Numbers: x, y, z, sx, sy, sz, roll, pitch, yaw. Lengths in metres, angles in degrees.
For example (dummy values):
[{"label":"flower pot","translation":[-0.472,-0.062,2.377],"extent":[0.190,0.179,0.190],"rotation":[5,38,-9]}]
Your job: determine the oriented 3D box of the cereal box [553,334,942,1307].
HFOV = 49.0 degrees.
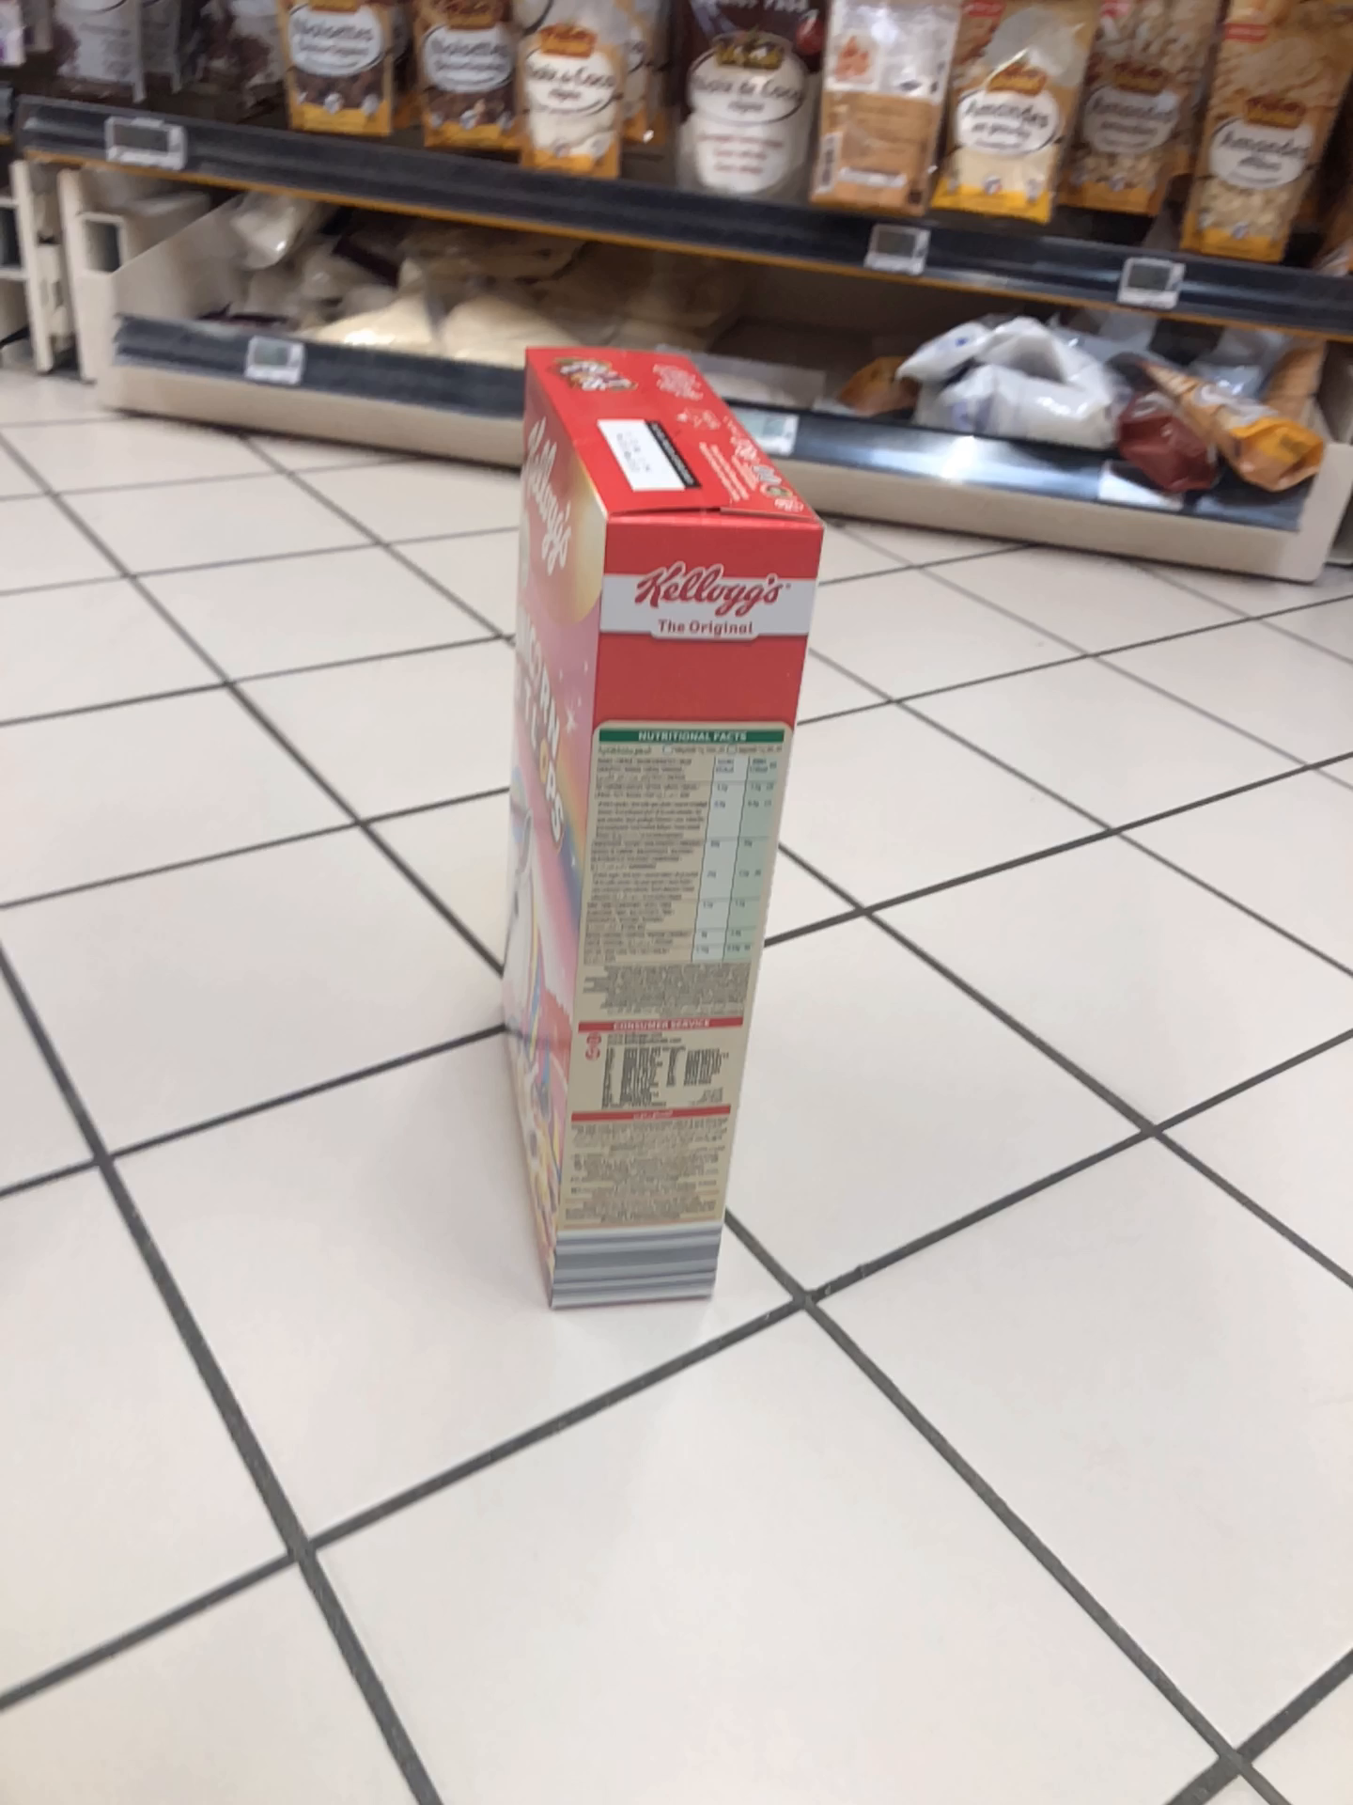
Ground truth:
[{"label":"cereal box","translation":[0.007,-0.033,0.557],"extent":[0.070,0.298,0.201],"rotation":[-1,32,-11]}]
